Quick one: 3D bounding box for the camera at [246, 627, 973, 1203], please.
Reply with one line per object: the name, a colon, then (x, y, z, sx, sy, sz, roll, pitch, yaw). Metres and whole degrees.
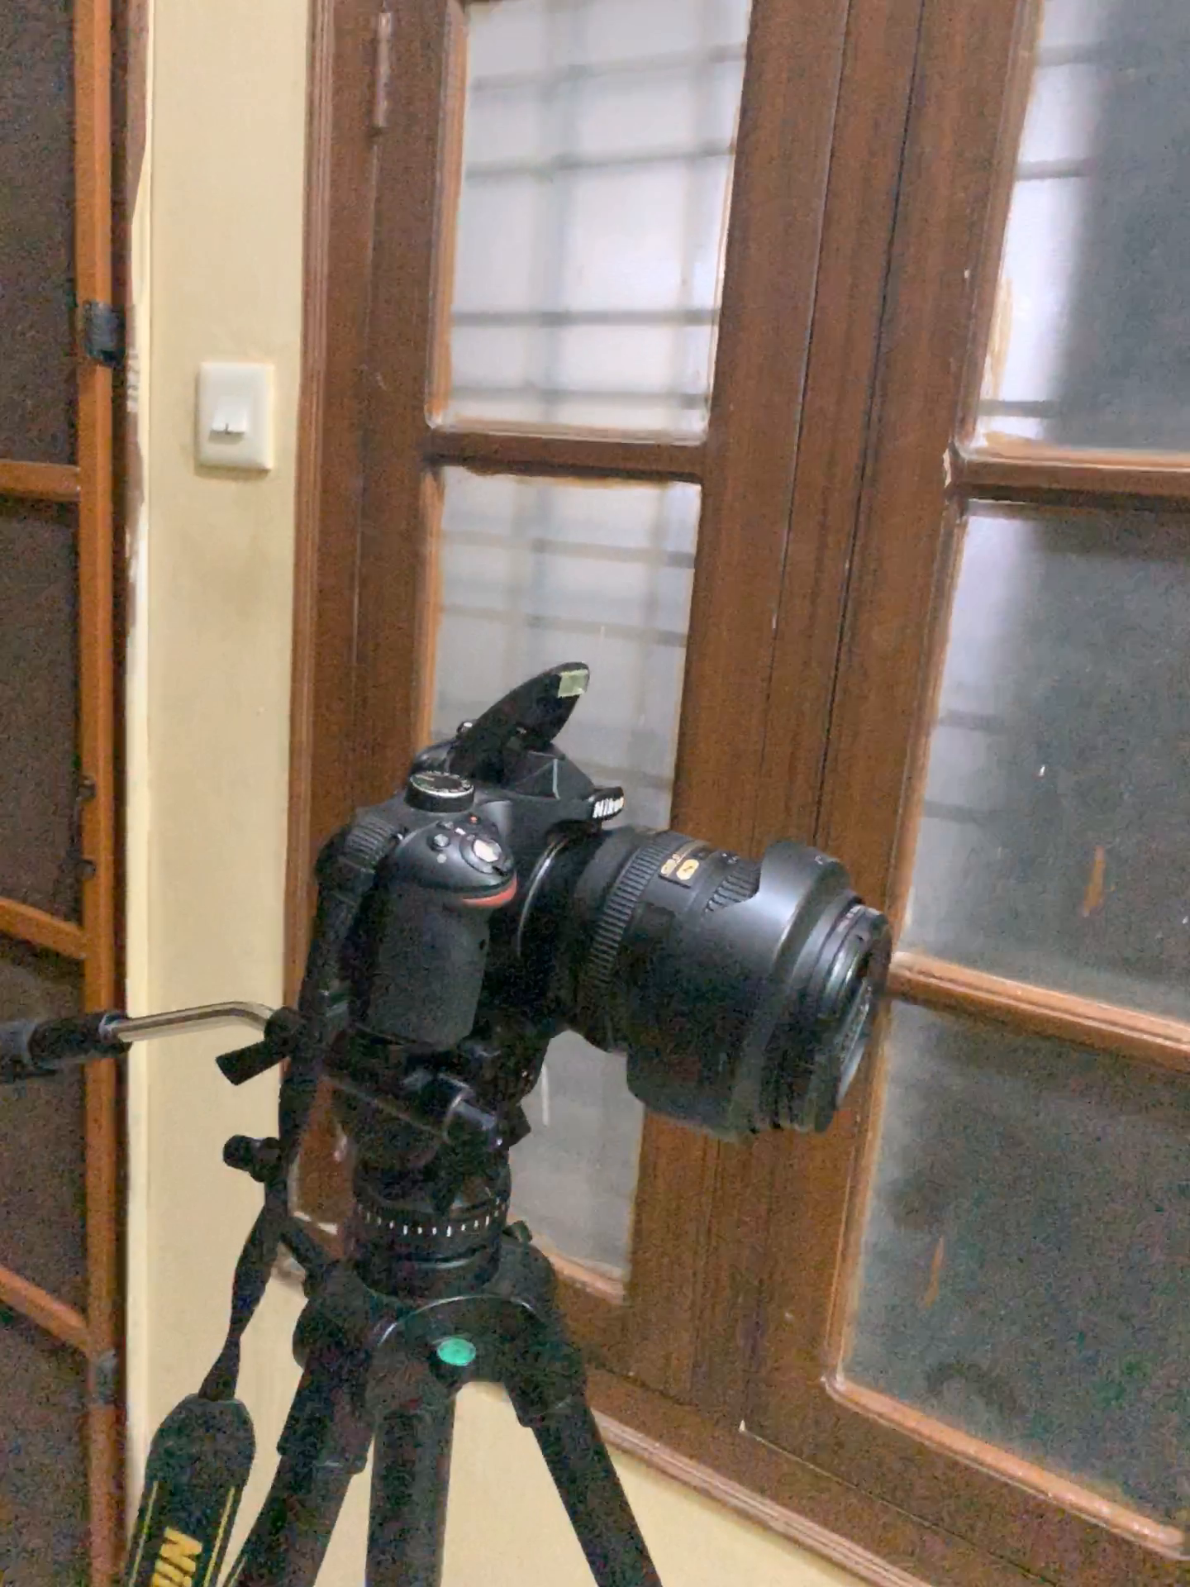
camera: (0.007, 0.020, 0.432, 0.200, 0.129, 0.150, 11, 14, 27)
